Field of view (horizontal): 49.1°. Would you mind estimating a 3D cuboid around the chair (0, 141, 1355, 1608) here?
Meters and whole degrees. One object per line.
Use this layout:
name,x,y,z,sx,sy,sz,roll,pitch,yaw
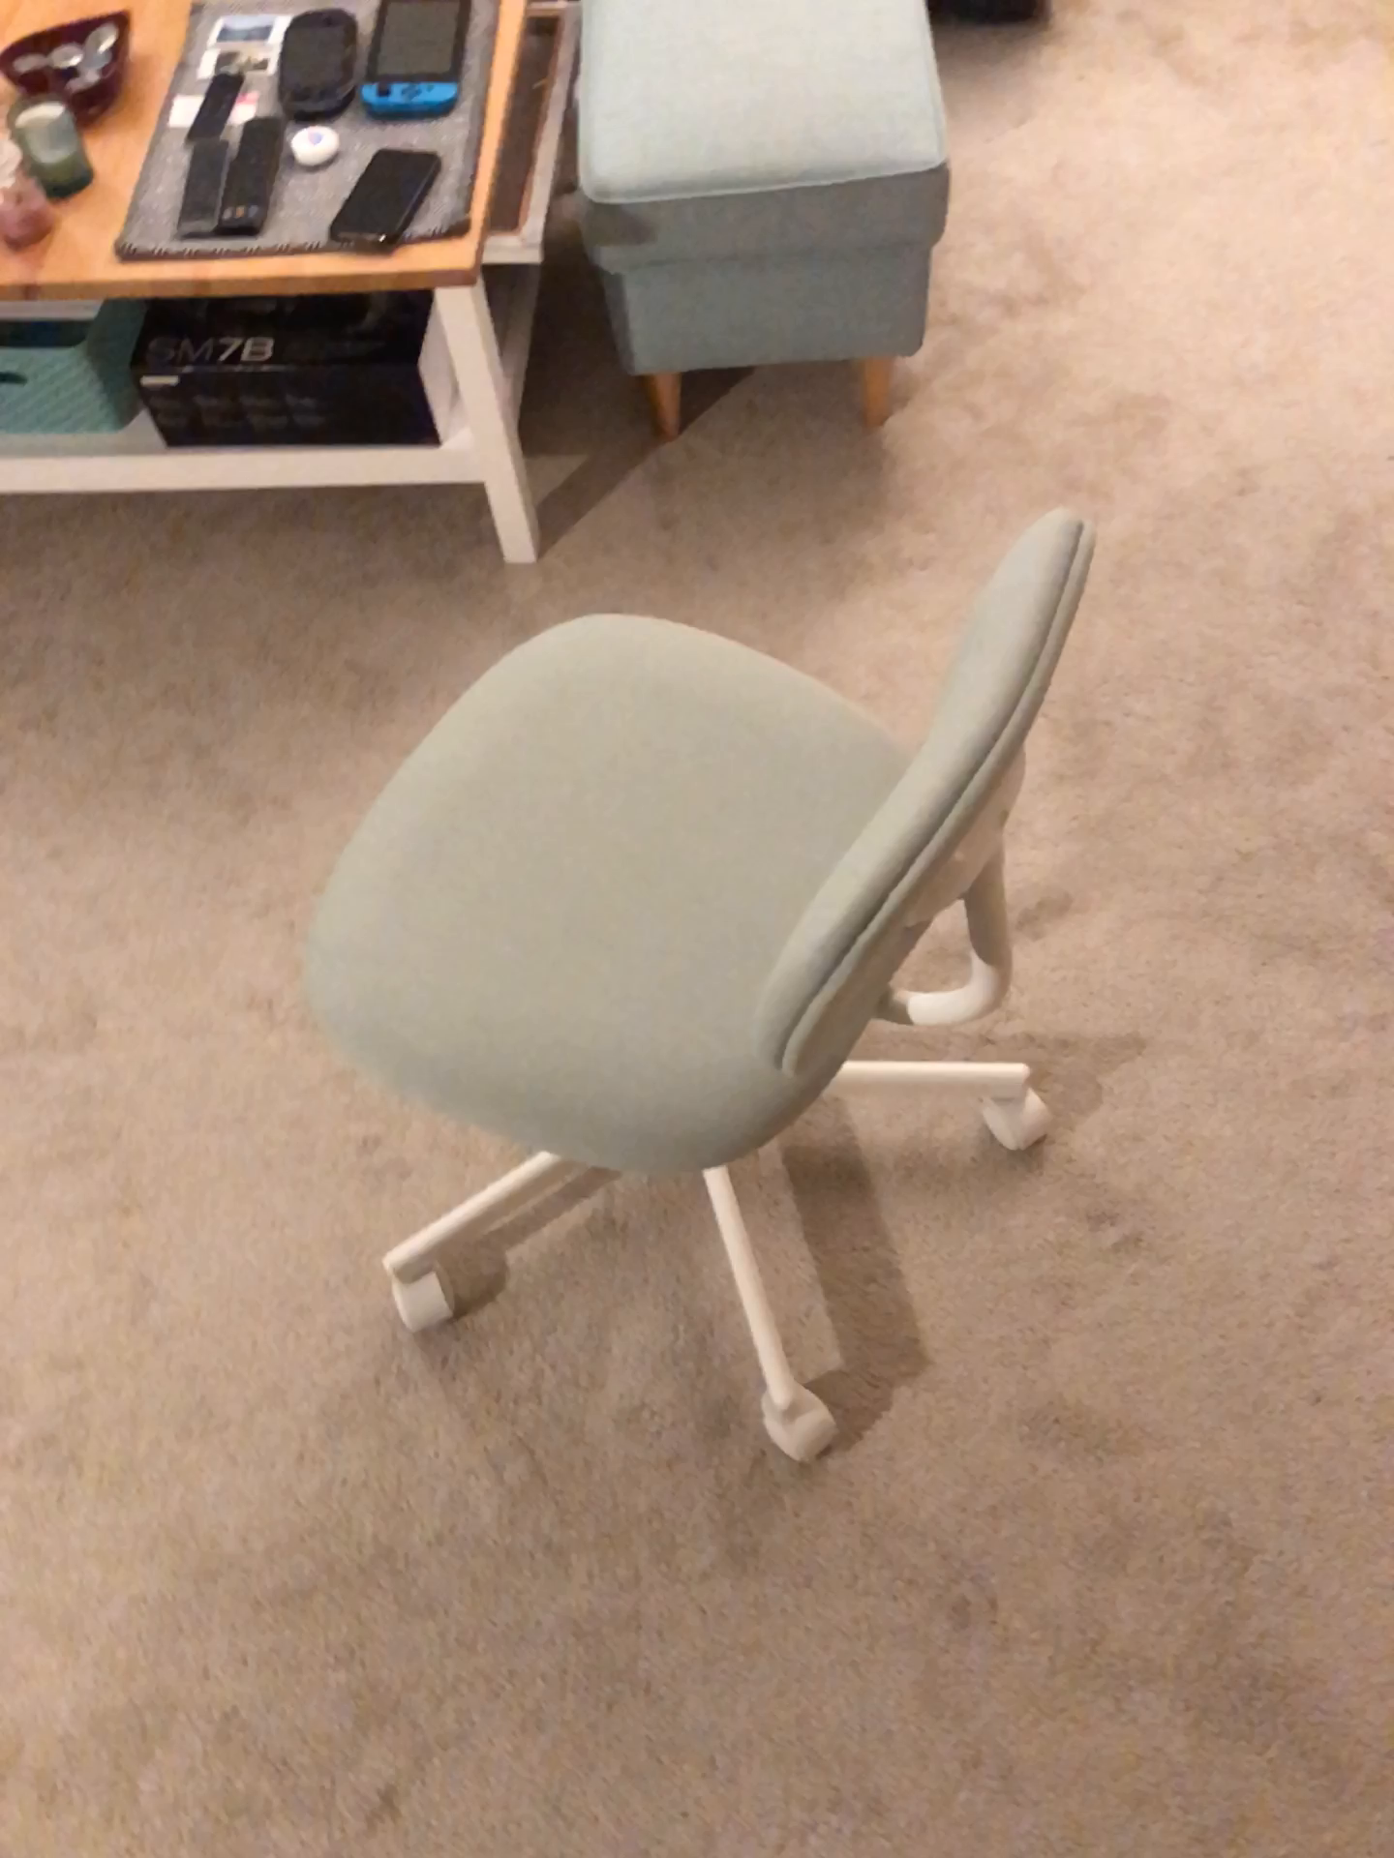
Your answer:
chair,-0.029,-0.019,1.159,0.640,0.677,0.662,26,64,19
